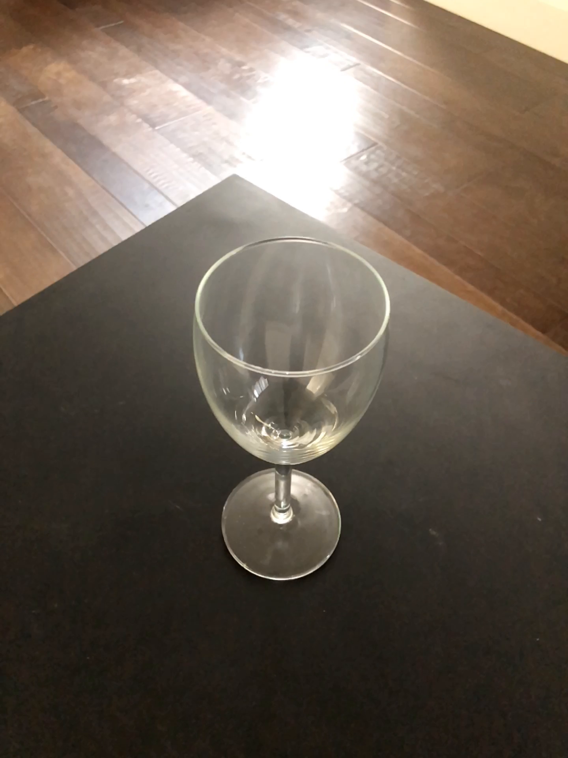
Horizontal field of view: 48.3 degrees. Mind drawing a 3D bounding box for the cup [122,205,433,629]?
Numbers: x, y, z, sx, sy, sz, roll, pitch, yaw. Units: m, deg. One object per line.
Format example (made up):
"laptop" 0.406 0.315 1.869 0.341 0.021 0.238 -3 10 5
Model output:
"cup" -0.002 0.029 0.290 0.080 0.179 0.081 1 51 -1
